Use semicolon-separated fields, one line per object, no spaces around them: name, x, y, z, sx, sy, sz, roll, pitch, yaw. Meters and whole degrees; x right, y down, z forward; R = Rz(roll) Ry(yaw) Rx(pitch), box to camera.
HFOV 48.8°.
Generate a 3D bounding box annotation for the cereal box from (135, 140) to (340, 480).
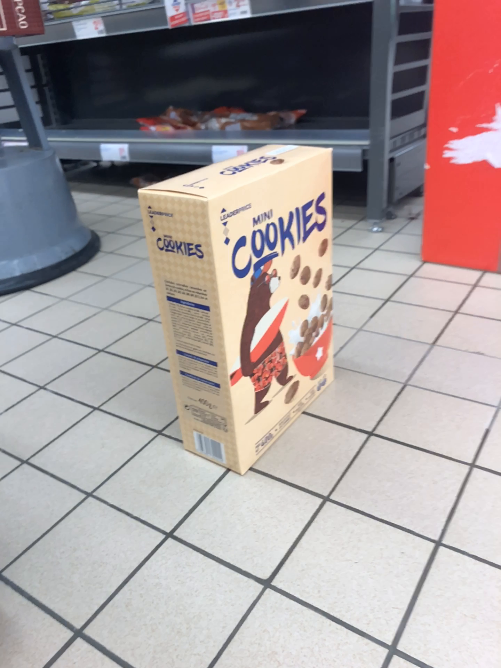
cereal box;0.007;-0.033;0.561;0.080;0.279;0.201;14;33;33
